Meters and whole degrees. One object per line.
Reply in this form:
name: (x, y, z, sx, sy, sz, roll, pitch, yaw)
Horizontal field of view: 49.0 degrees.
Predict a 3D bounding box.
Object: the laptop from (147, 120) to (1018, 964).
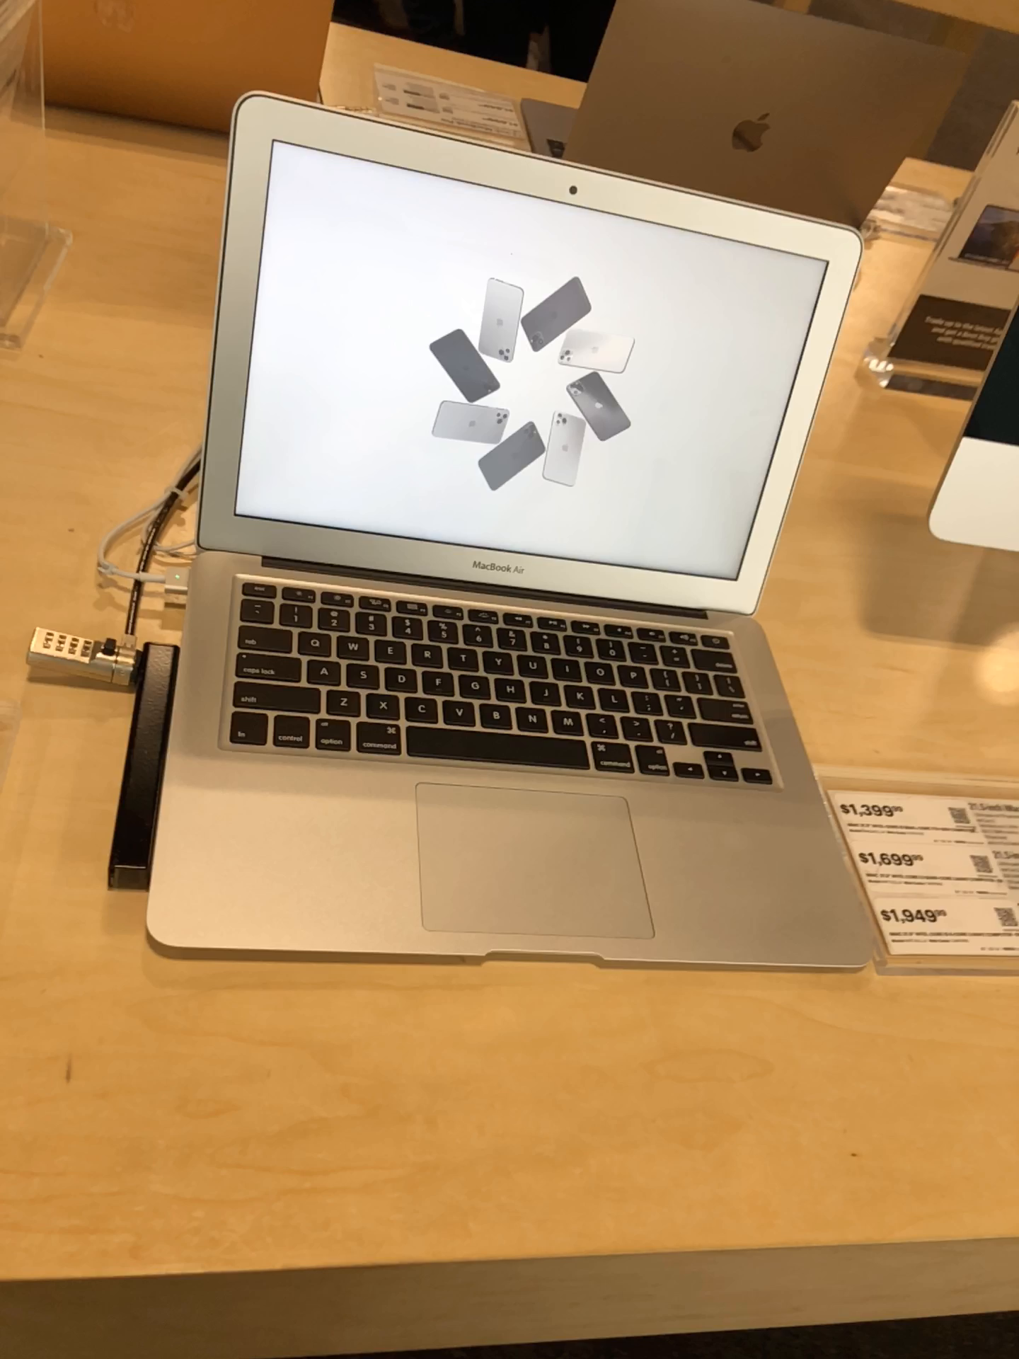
laptop: (0.024, -0.064, 0.518, 0.324, 0.202, 0.310, 5, 46, -13)
